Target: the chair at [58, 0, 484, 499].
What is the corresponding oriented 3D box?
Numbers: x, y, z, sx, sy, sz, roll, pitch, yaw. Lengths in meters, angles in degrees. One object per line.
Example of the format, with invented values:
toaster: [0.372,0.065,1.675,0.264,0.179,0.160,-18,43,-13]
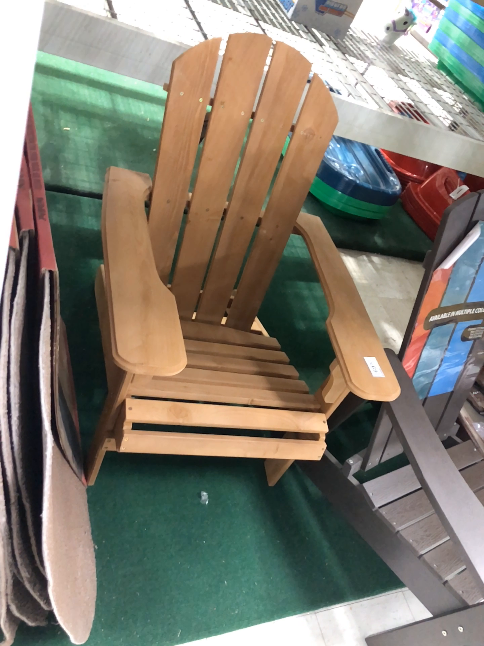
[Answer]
chair: [-0.015,-0.102,1.281,0.643,0.885,0.688,9,45,-24]
